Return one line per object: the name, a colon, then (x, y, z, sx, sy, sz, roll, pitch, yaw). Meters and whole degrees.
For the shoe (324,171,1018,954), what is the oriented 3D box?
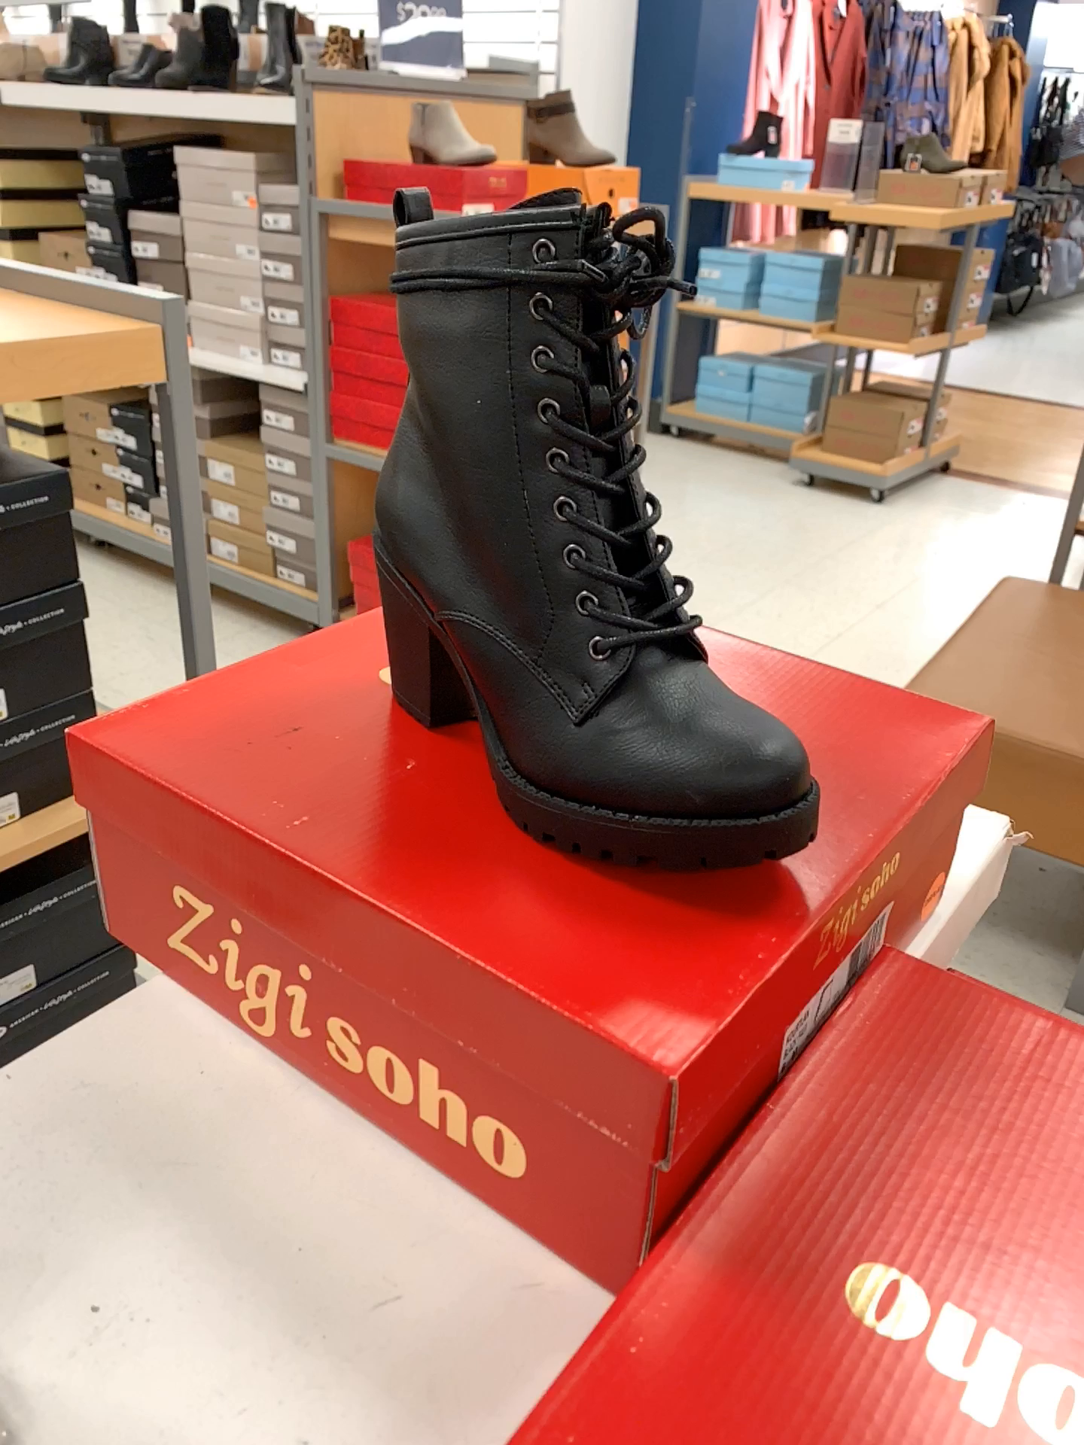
shoe: (0.023, -0.071, 0.385, 0.092, 0.203, 0.201, -20, 35, -38)
